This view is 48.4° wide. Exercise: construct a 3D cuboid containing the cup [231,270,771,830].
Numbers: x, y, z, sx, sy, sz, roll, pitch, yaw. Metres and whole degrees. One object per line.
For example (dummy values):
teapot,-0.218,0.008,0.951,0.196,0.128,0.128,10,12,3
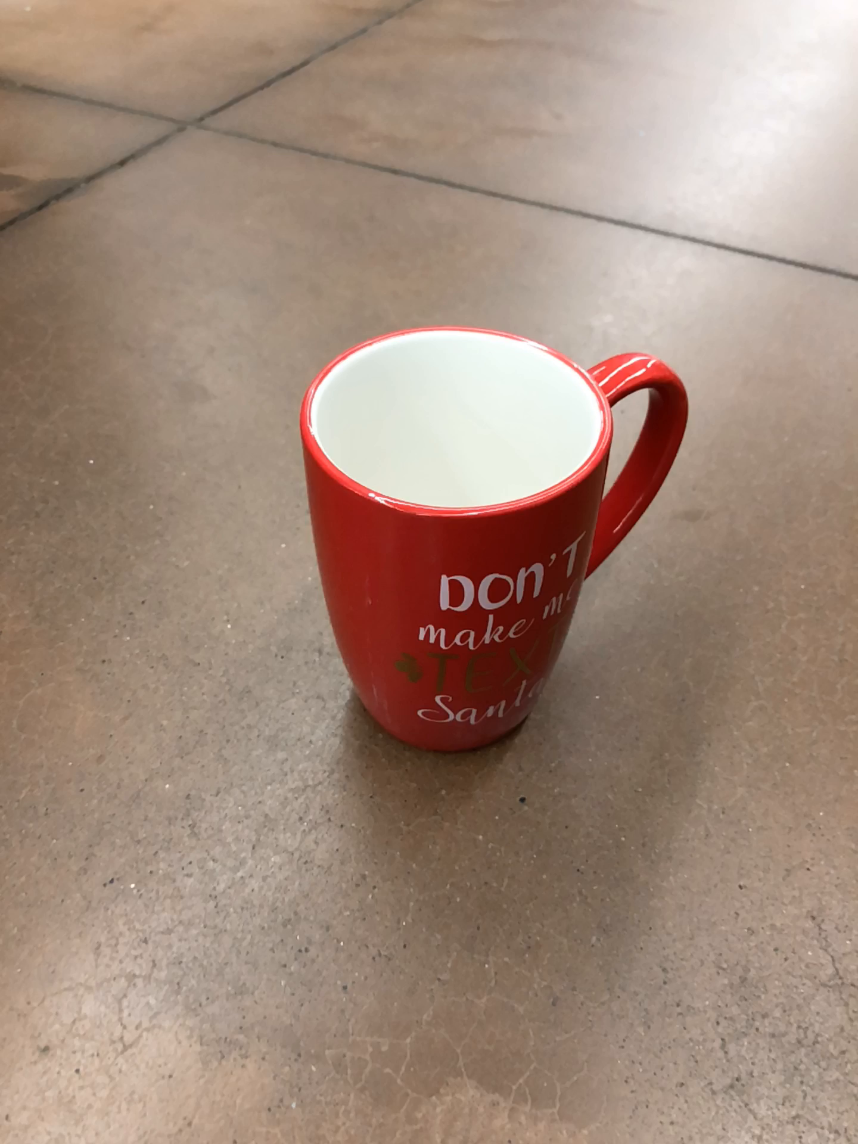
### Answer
cup,0.019,-0.009,0.325,0.130,0.130,0.090,-20,49,-20
